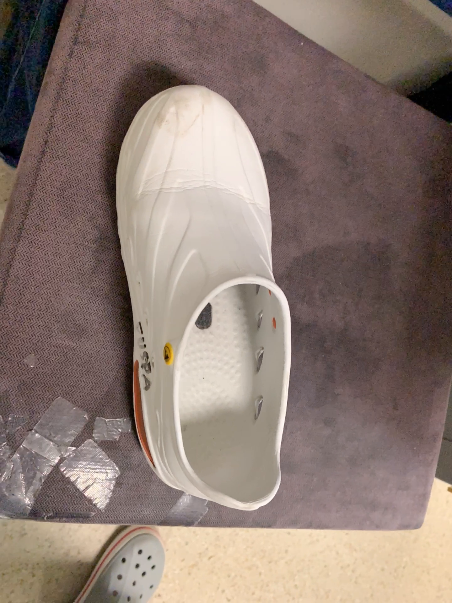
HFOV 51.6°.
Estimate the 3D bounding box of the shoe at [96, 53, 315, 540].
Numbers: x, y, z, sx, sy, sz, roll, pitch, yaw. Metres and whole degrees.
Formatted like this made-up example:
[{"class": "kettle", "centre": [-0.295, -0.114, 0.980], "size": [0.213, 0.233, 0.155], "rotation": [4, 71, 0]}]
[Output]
[{"class": "shoe", "centre": [-0.015, -0.003, 0.266], "size": [0.092, 0.093, 0.213], "rotation": [-2, 94, -27]}]
